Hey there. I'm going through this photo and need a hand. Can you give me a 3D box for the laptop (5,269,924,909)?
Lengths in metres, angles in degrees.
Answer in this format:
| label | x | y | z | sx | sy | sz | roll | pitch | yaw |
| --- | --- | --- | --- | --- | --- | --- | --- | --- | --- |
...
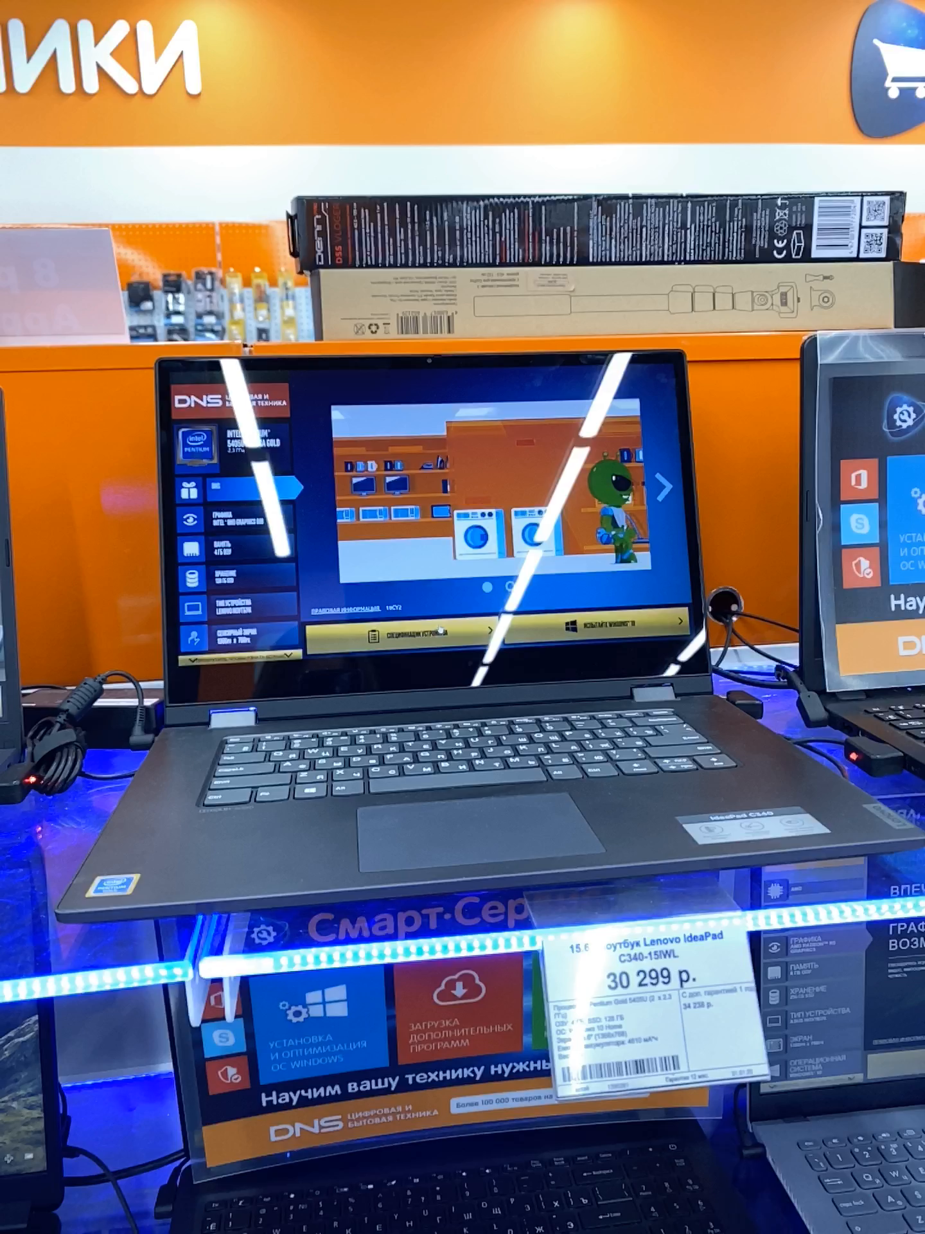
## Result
| label | x | y | z | sx | sy | sz | roll | pitch | yaw |
| --- | --- | --- | --- | --- | --- | --- | --- | --- | --- |
| laptop | 0.004 | -0.039 | 0.523 | 0.362 | 0.232 | 0.318 | -3 | 10 | -8 |
